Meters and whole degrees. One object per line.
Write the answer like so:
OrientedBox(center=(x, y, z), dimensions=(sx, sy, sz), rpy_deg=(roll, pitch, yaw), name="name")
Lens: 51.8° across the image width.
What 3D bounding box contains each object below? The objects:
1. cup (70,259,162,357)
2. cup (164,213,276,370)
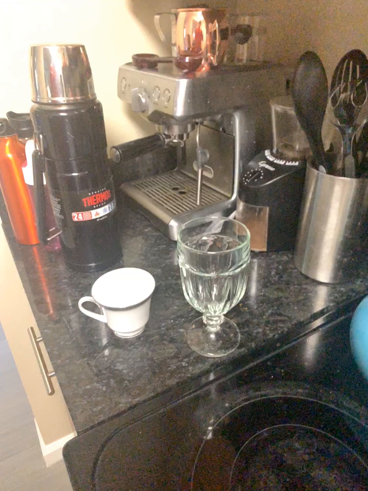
OrientedBox(center=(-0.100, 0.086, 0.552), dimensions=(0.110, 0.070, 0.101), rpy_deg=(-1, 32, 1), name="cup")
OrientedBox(center=(0.044, 0.061, 0.523), dimensions=(0.110, 0.169, 0.101), rpy_deg=(-1, 31, 1), name="cup")
